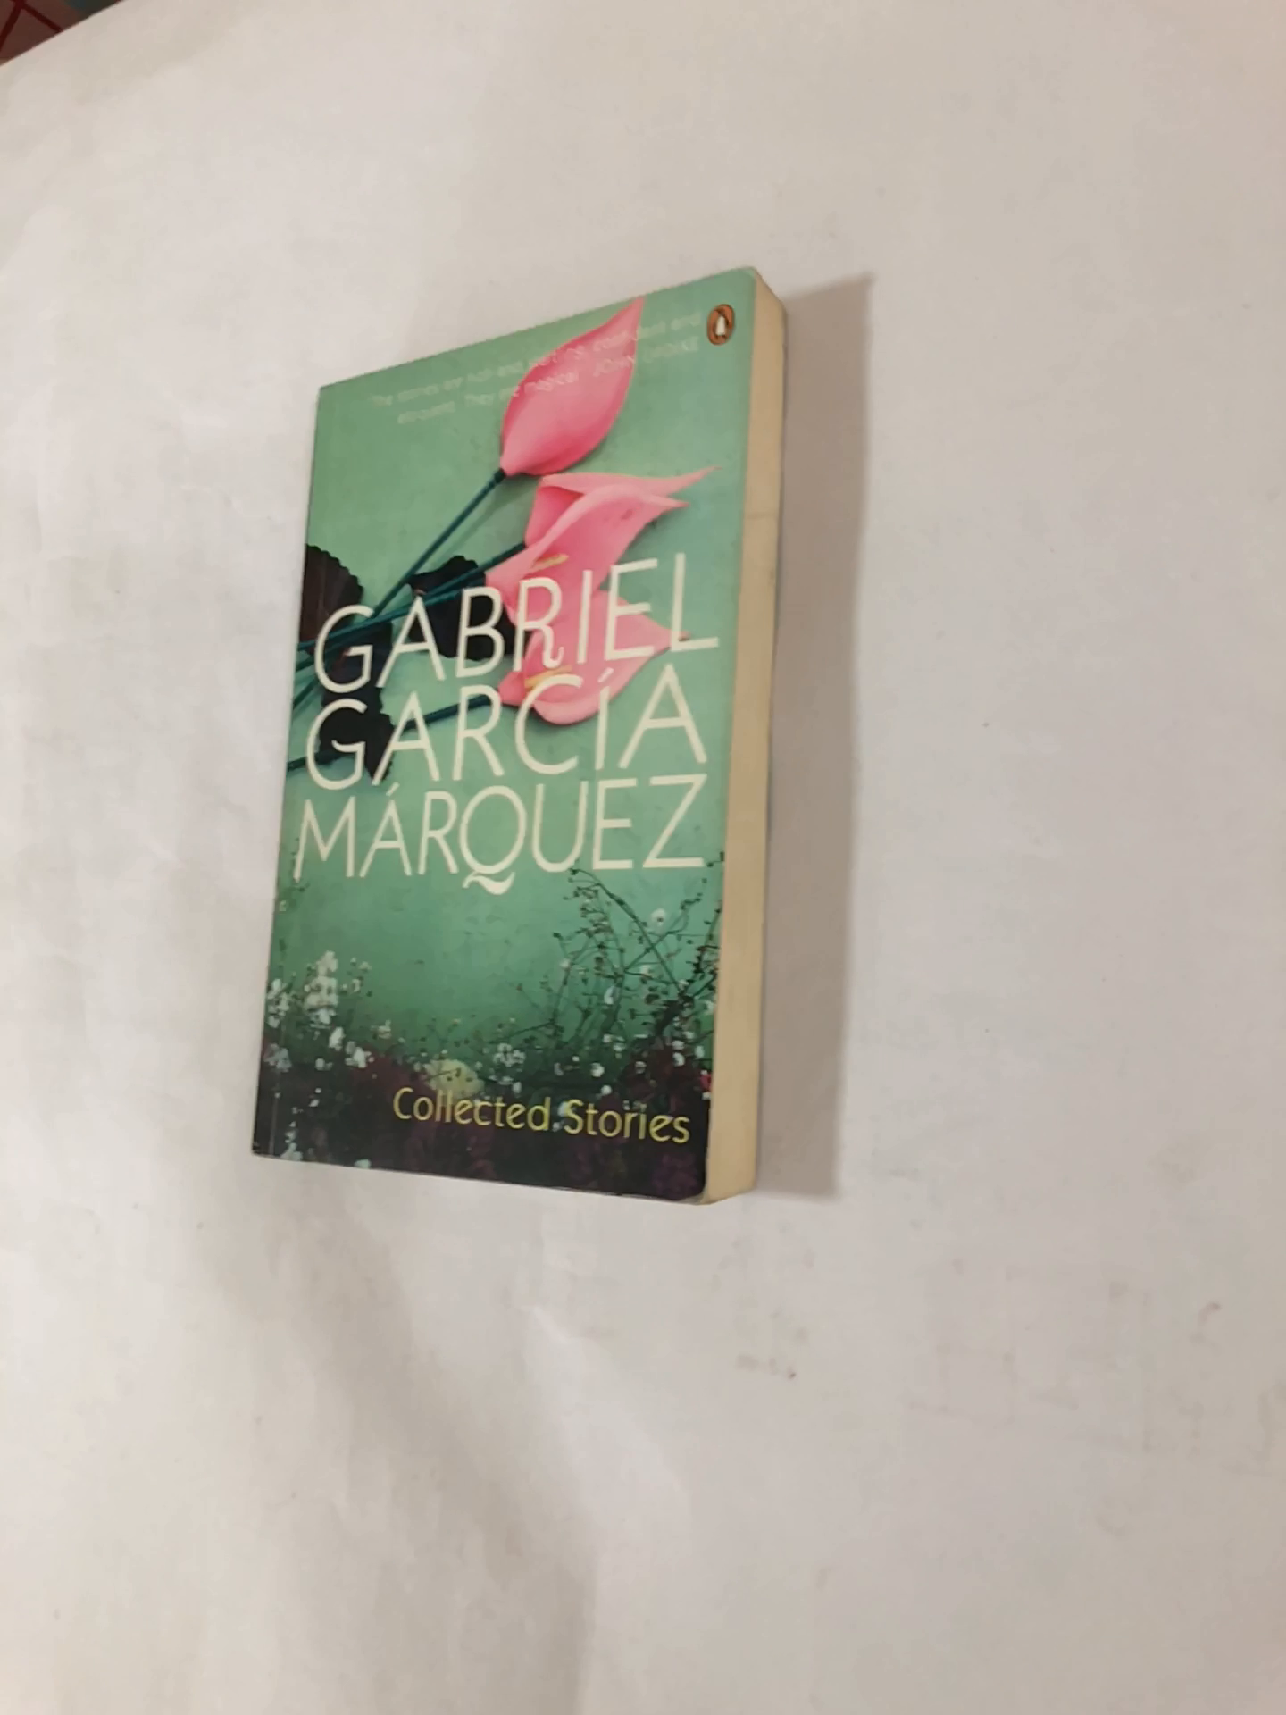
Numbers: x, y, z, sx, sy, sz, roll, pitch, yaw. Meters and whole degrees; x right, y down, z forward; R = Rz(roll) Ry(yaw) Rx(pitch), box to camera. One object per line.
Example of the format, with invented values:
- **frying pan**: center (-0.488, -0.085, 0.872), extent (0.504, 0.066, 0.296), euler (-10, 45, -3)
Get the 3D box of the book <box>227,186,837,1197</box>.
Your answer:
- **book**: center (-0.026, -0.032, 0.321), extent (0.131, 0.030, 0.200), euler (-3, 78, 32)
